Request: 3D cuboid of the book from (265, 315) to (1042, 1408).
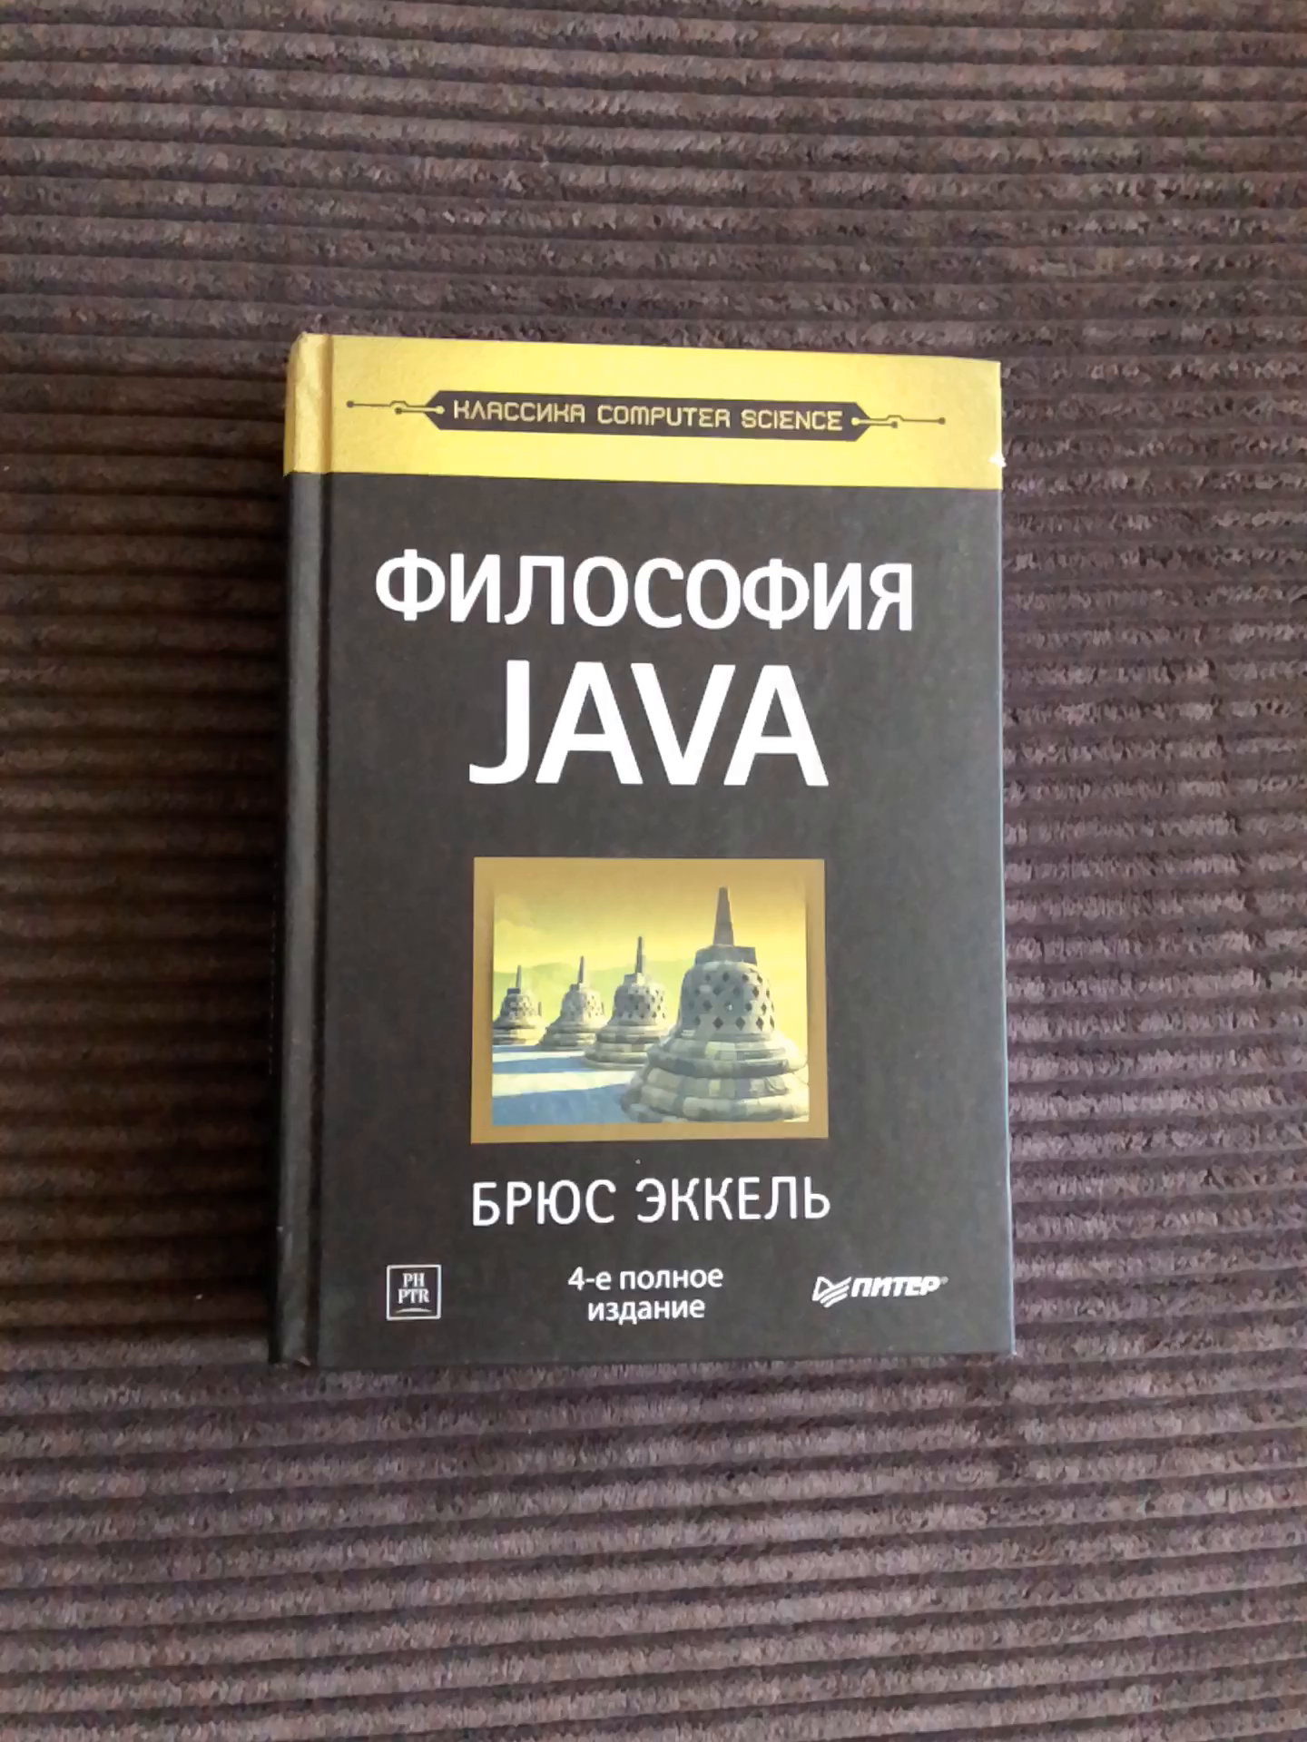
[{"bbox_3d":[-0.001,-0.003,0.353,0.171,0.060,0.239,0,86,-6],"label":"book"}]
